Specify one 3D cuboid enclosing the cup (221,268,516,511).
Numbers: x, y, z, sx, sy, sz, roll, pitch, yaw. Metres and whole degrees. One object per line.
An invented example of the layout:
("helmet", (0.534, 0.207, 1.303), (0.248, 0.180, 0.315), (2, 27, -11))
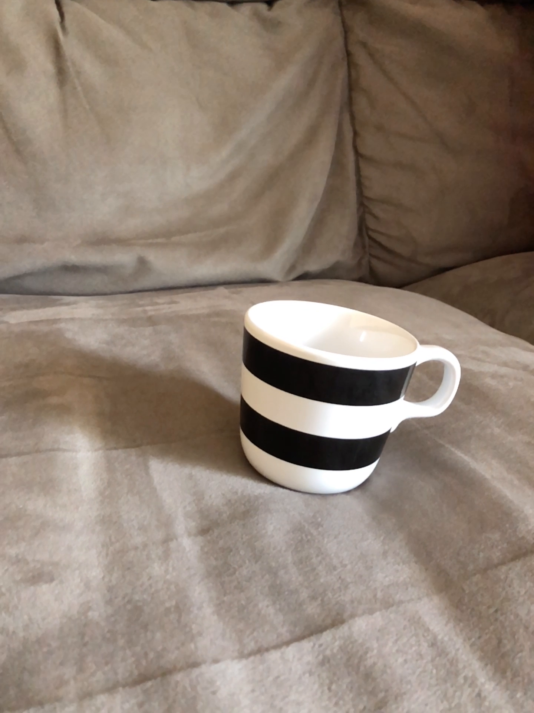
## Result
("cup", (0.039, 0.014, 0.290), (0.110, 0.080, 0.080), (7, 23, -9))
